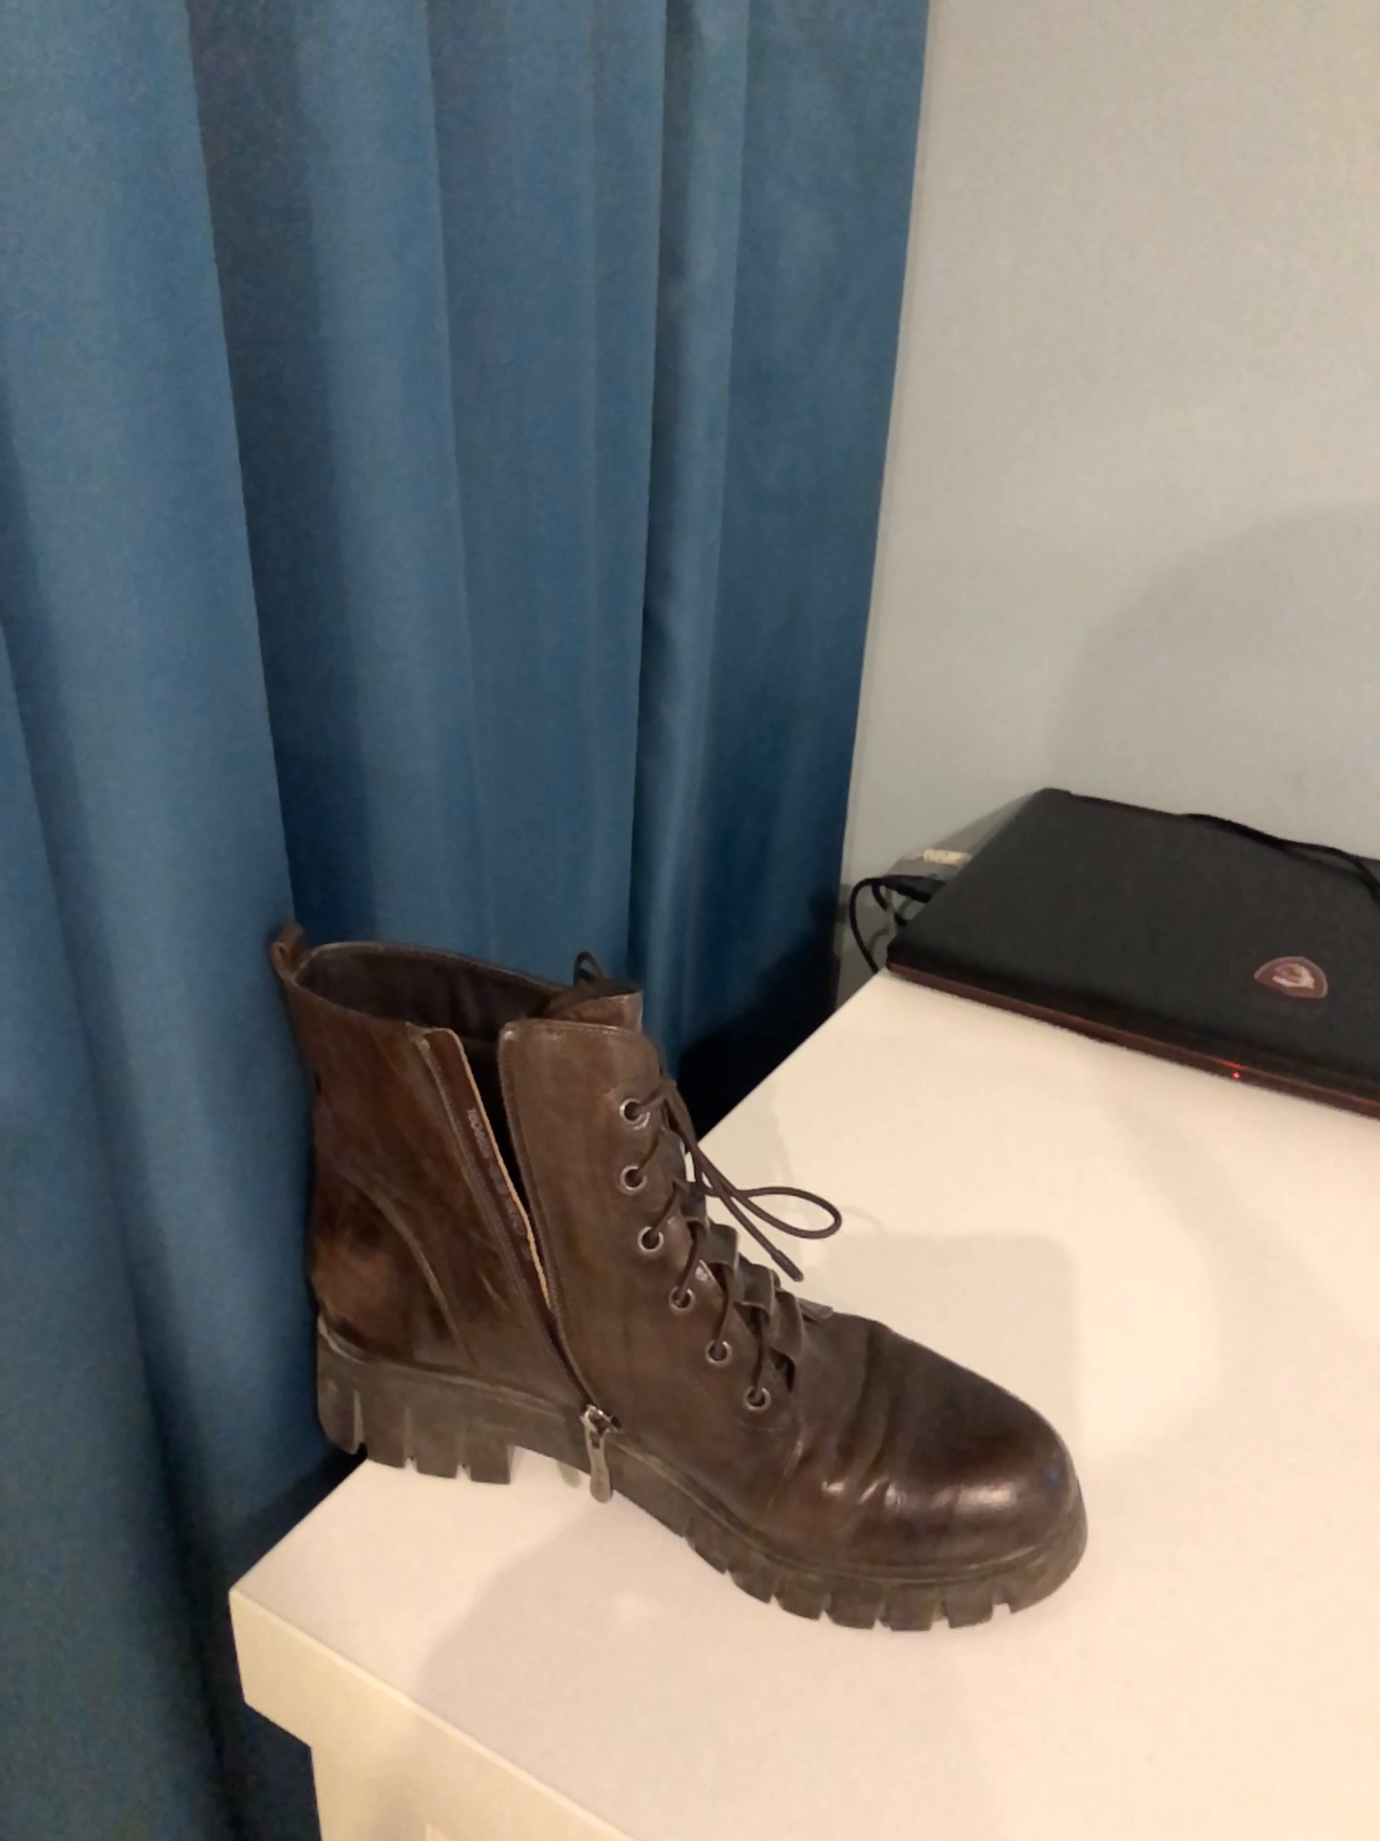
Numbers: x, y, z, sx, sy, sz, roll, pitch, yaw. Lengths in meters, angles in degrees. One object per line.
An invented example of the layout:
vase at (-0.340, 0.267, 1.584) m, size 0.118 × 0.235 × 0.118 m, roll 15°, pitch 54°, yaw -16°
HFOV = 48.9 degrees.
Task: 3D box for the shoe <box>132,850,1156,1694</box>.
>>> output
shoe at (-0.013, 0.094, 0.463) m, size 0.270 × 0.169 × 0.101 m, roll 9°, pitch 27°, yaw 18°
